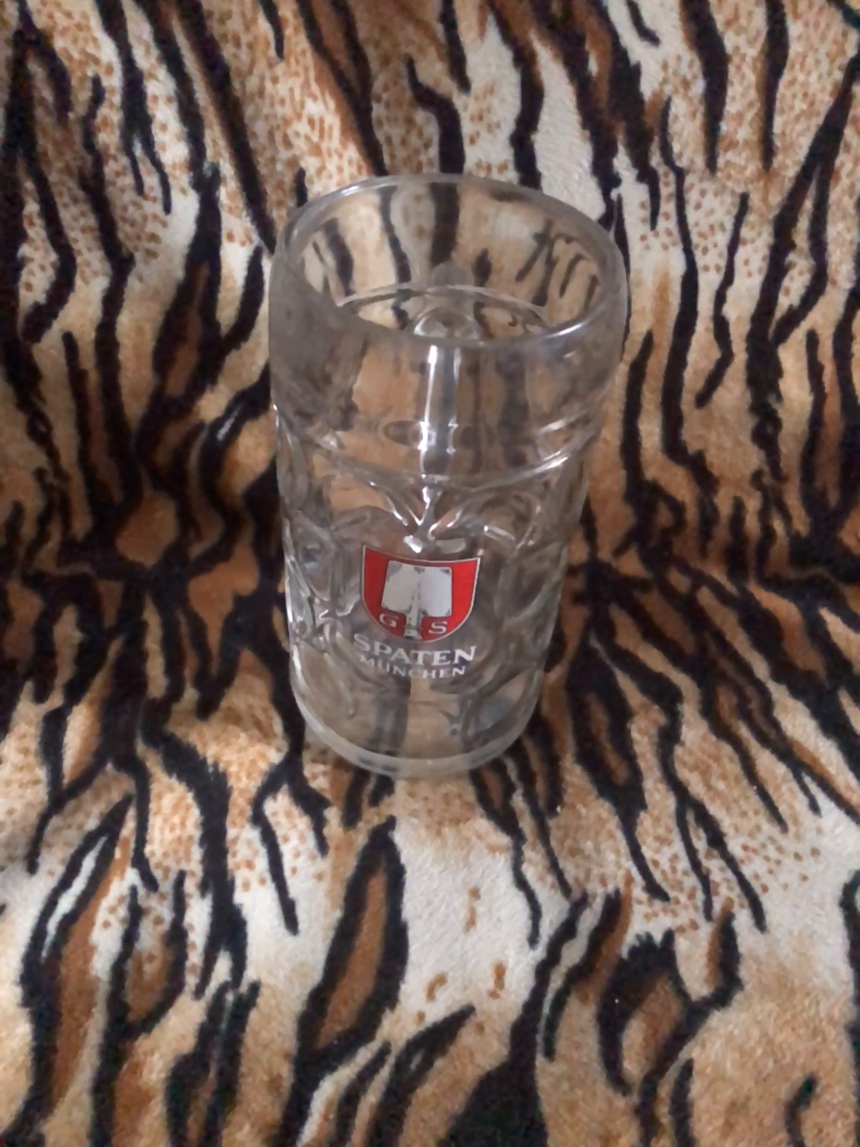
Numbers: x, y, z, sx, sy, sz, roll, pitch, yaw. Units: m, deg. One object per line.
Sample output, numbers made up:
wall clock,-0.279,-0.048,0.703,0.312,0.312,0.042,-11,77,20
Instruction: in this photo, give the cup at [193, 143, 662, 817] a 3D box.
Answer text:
cup,0.006,-0.034,0.362,0.120,0.194,0.150,5,42,5
